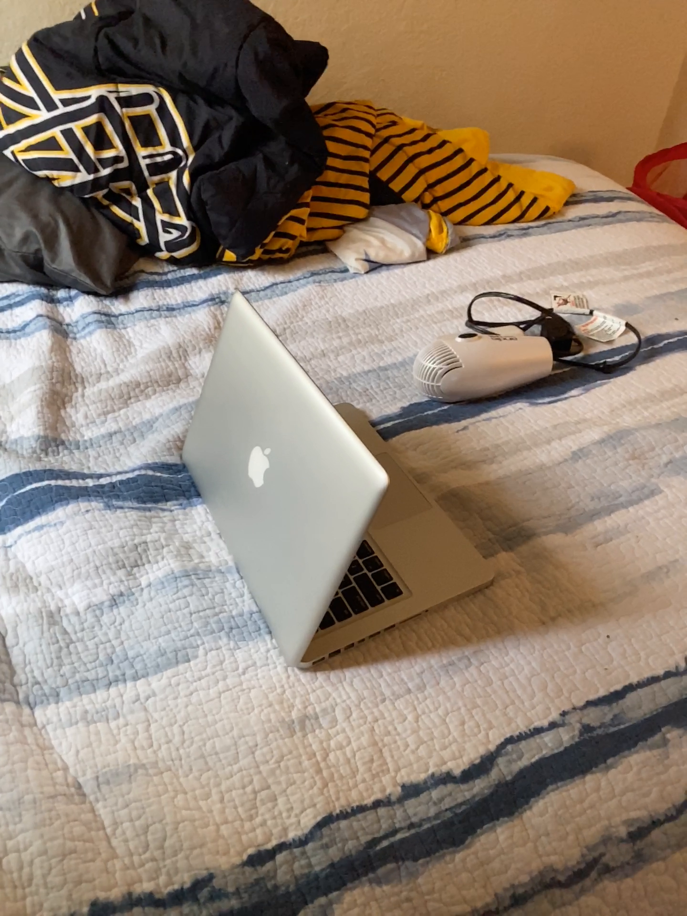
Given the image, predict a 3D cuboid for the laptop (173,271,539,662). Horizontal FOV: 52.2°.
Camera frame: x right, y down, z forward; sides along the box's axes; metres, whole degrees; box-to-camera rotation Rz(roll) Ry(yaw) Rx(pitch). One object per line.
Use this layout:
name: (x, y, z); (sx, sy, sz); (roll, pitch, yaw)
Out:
laptop: (-0.008, -0.011, 0.698); (0.214, 0.188, 0.302); (-18, 47, -20)
